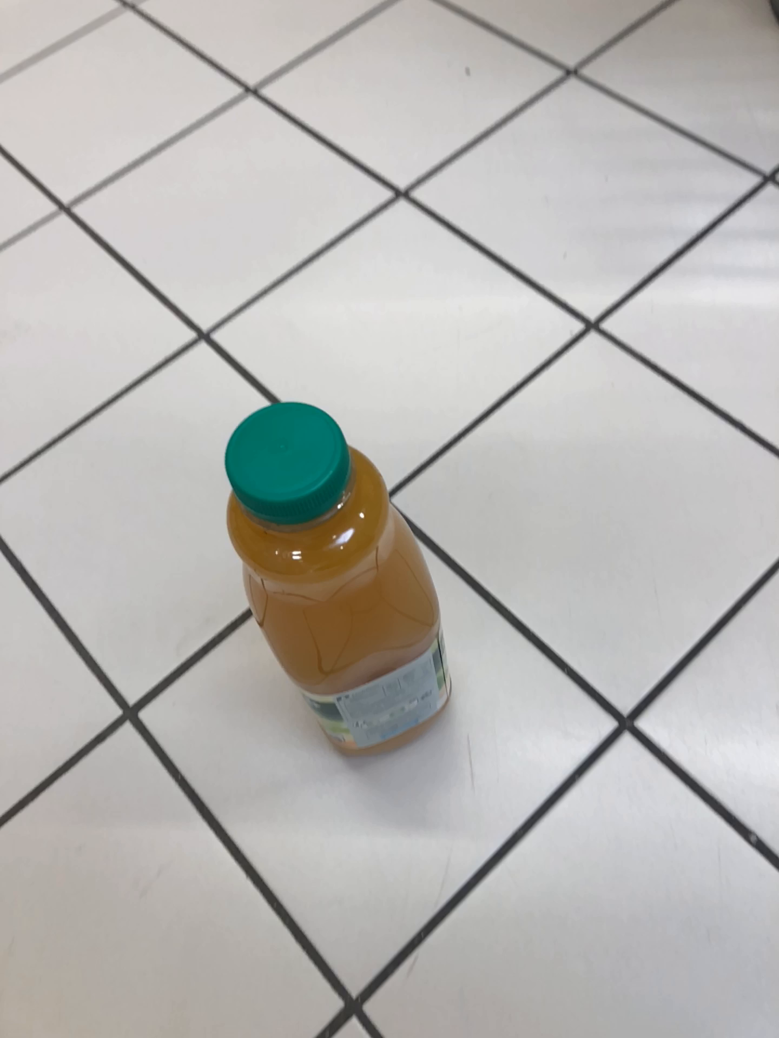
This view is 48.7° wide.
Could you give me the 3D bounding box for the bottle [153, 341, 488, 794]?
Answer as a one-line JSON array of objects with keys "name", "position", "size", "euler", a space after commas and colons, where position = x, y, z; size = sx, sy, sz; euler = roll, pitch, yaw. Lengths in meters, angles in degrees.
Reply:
[{"name": "bottle", "position": [-0.014, 0.043, 0.388], "size": [0.090, 0.239, 0.080], "euler": [-22, 61, -6]}]
